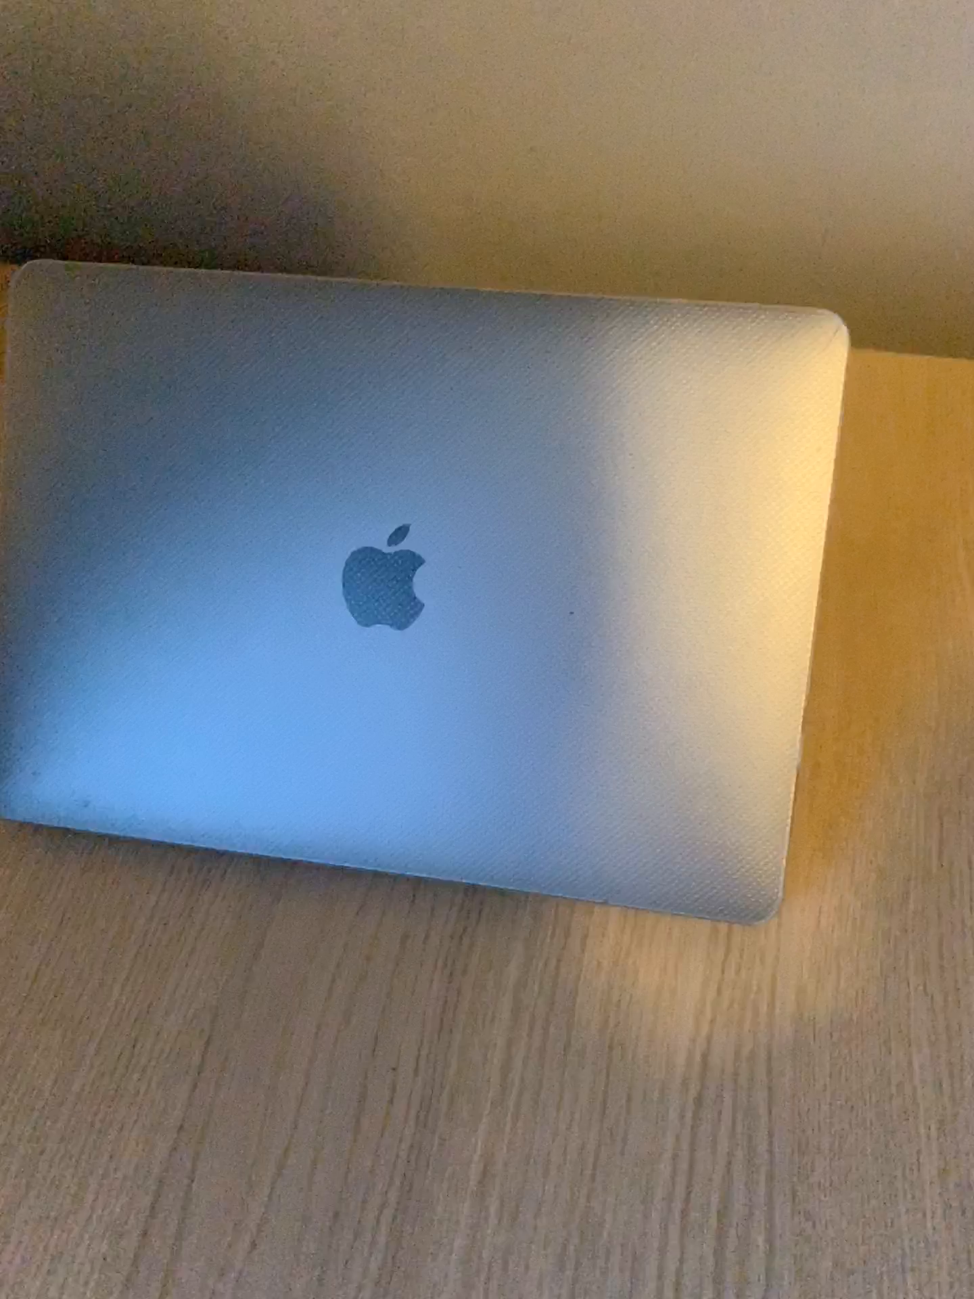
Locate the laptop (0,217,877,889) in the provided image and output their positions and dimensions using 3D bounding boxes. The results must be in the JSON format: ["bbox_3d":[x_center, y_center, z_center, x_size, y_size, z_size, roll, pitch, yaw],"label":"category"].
[{"bbox_3d":[-0.035,-0.048,0.390,0.309,0.127,0.207,5,53,8],"label":"laptop"}]
